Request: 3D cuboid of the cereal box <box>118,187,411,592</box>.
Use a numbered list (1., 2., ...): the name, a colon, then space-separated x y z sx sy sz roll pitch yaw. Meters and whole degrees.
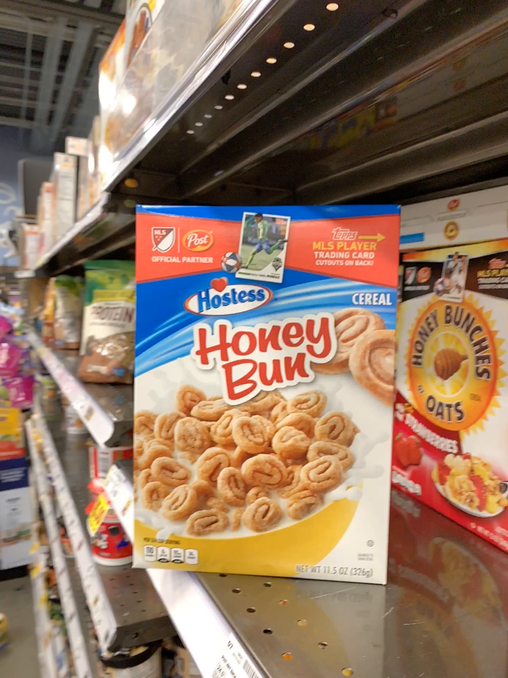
1. cereal box: 0.006 0.033 0.403 0.200 0.280 0.060 2 3 4
